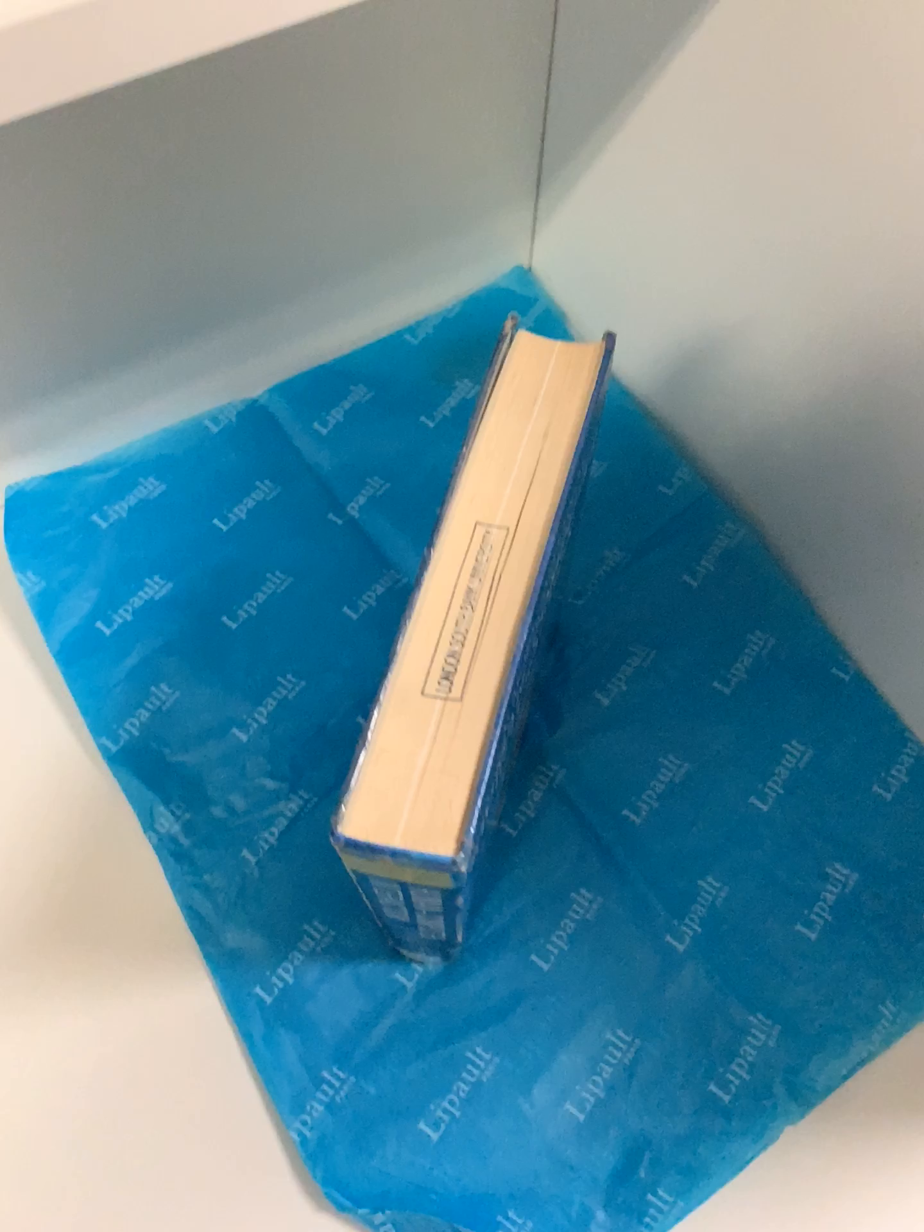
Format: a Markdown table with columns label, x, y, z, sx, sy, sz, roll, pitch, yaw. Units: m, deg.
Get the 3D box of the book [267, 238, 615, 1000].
| label | x | y | z | sx | sy | sz | roll | pitch | yaw |
| --- | --- | --- | --- | --- | --- | --- | --- | --- | --- |
| book | 0.001 | 0.026 | 0.400 | 0.050 | 0.259 | 0.221 | 13 | 63 | 6 |
